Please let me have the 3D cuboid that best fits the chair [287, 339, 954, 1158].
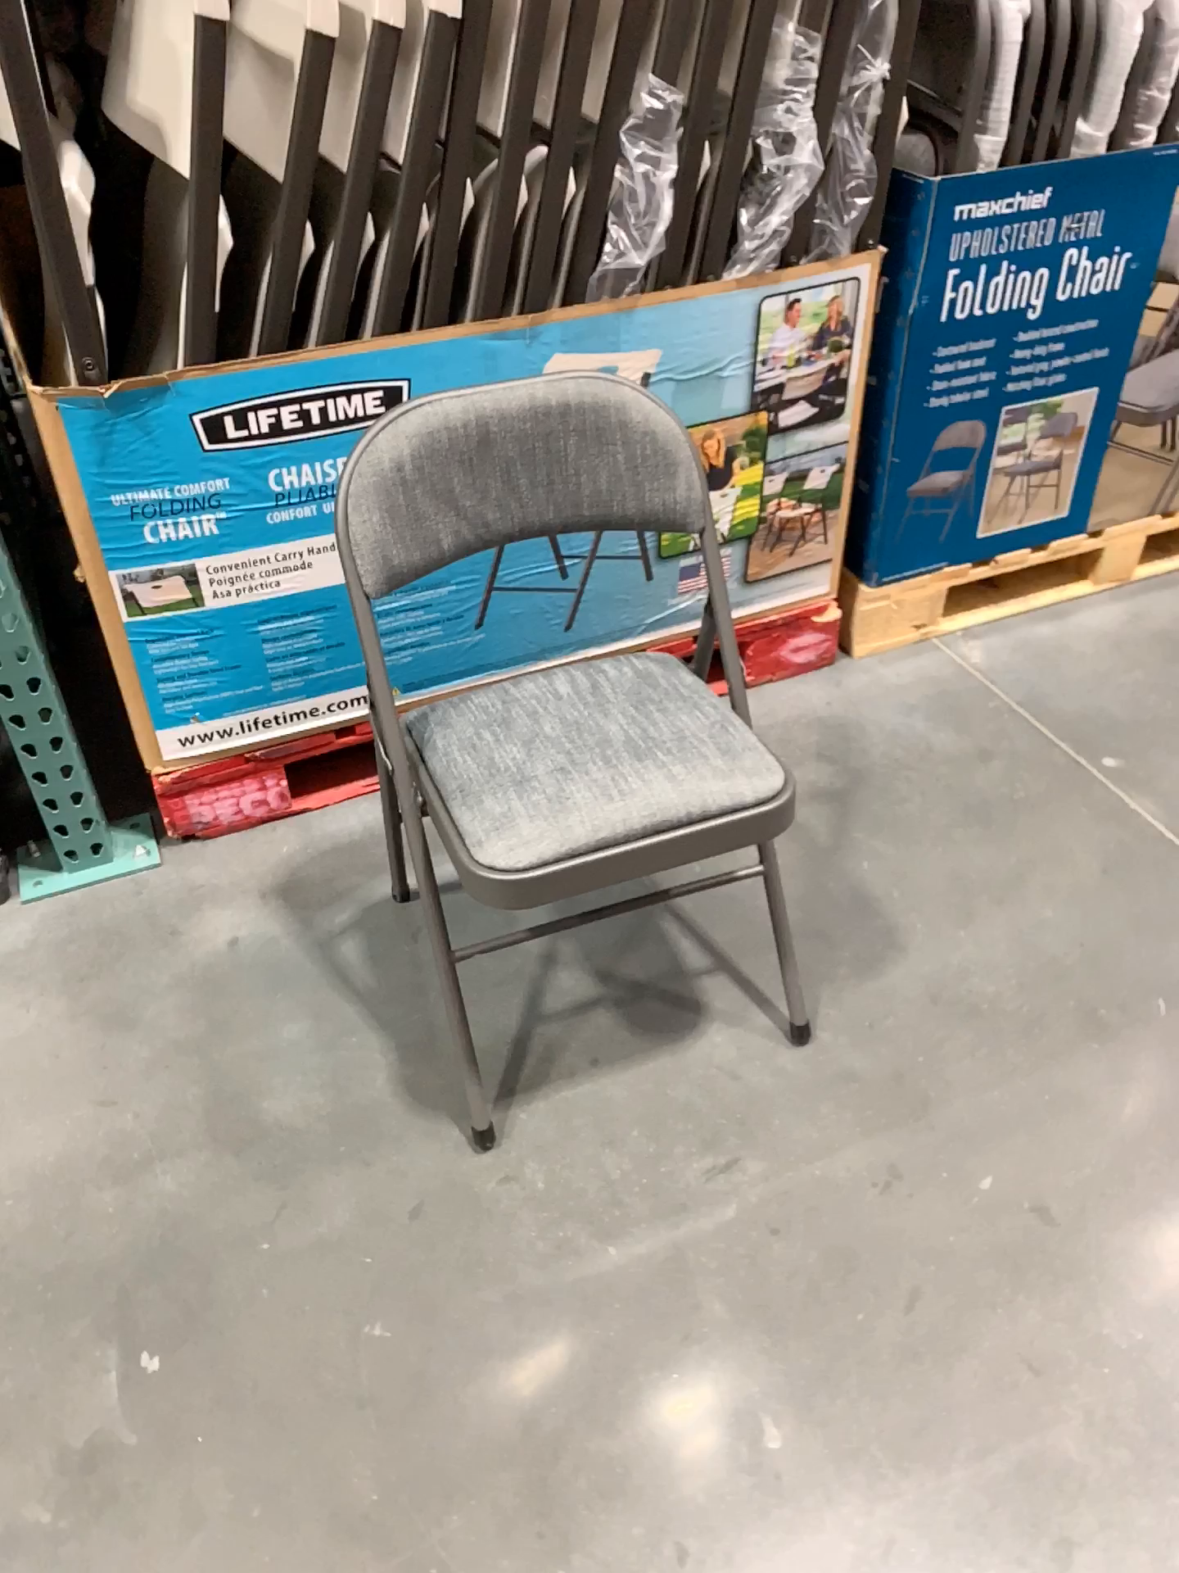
[{"bbox_3d":[0.002,-0.053,1.396,0.494,0.687,0.505,-15,42,-16],"label":"chair"}]
